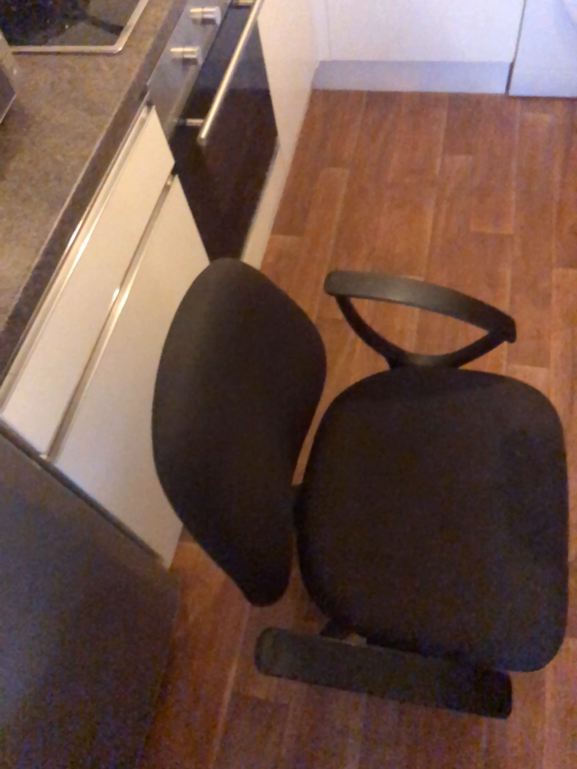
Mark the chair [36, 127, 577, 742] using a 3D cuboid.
[{"bbox_3d":[0.192,0.162,1.063,0.642,0.883,0.639,6,61,12],"label":"chair"}]
